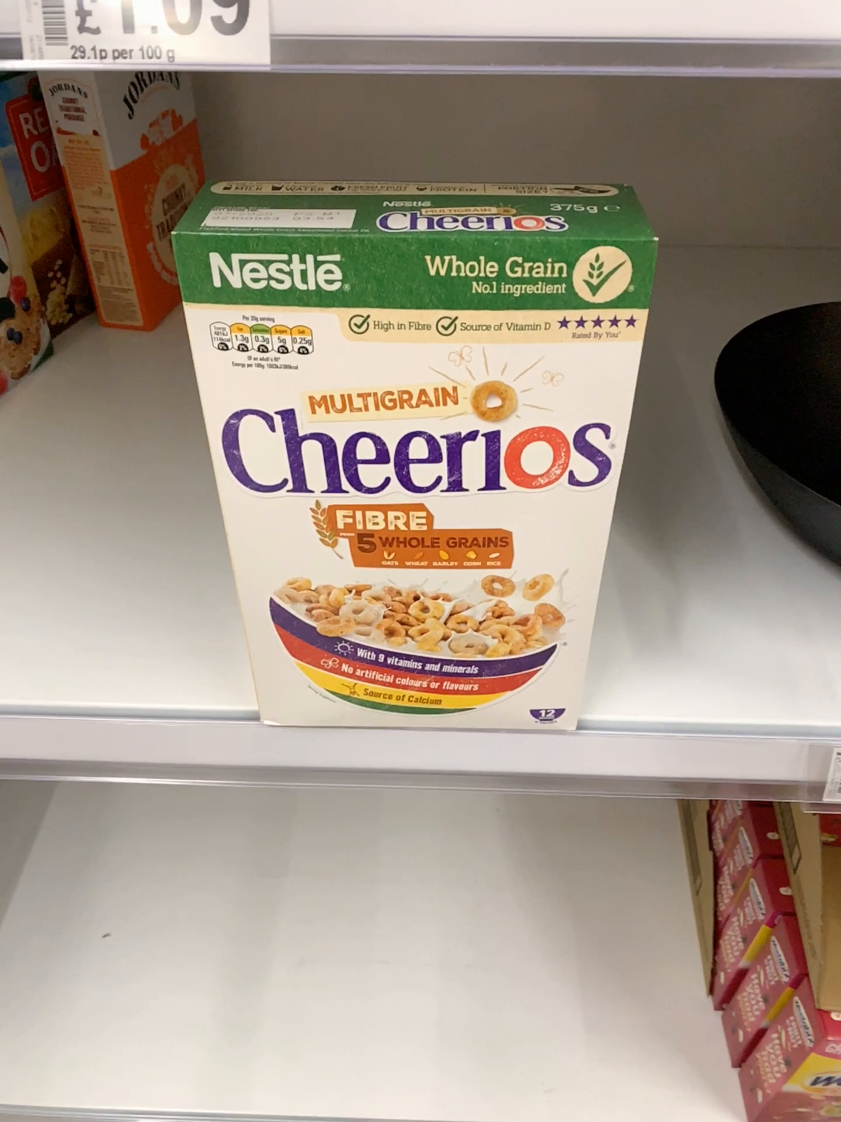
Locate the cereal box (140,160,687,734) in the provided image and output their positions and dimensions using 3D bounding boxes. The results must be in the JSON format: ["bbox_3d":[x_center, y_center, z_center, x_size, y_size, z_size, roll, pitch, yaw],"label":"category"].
[{"bbox_3d":[-0.003,-0.037,0.433,0.200,0.287,0.071,0,38,0],"label":"cereal box"}]
